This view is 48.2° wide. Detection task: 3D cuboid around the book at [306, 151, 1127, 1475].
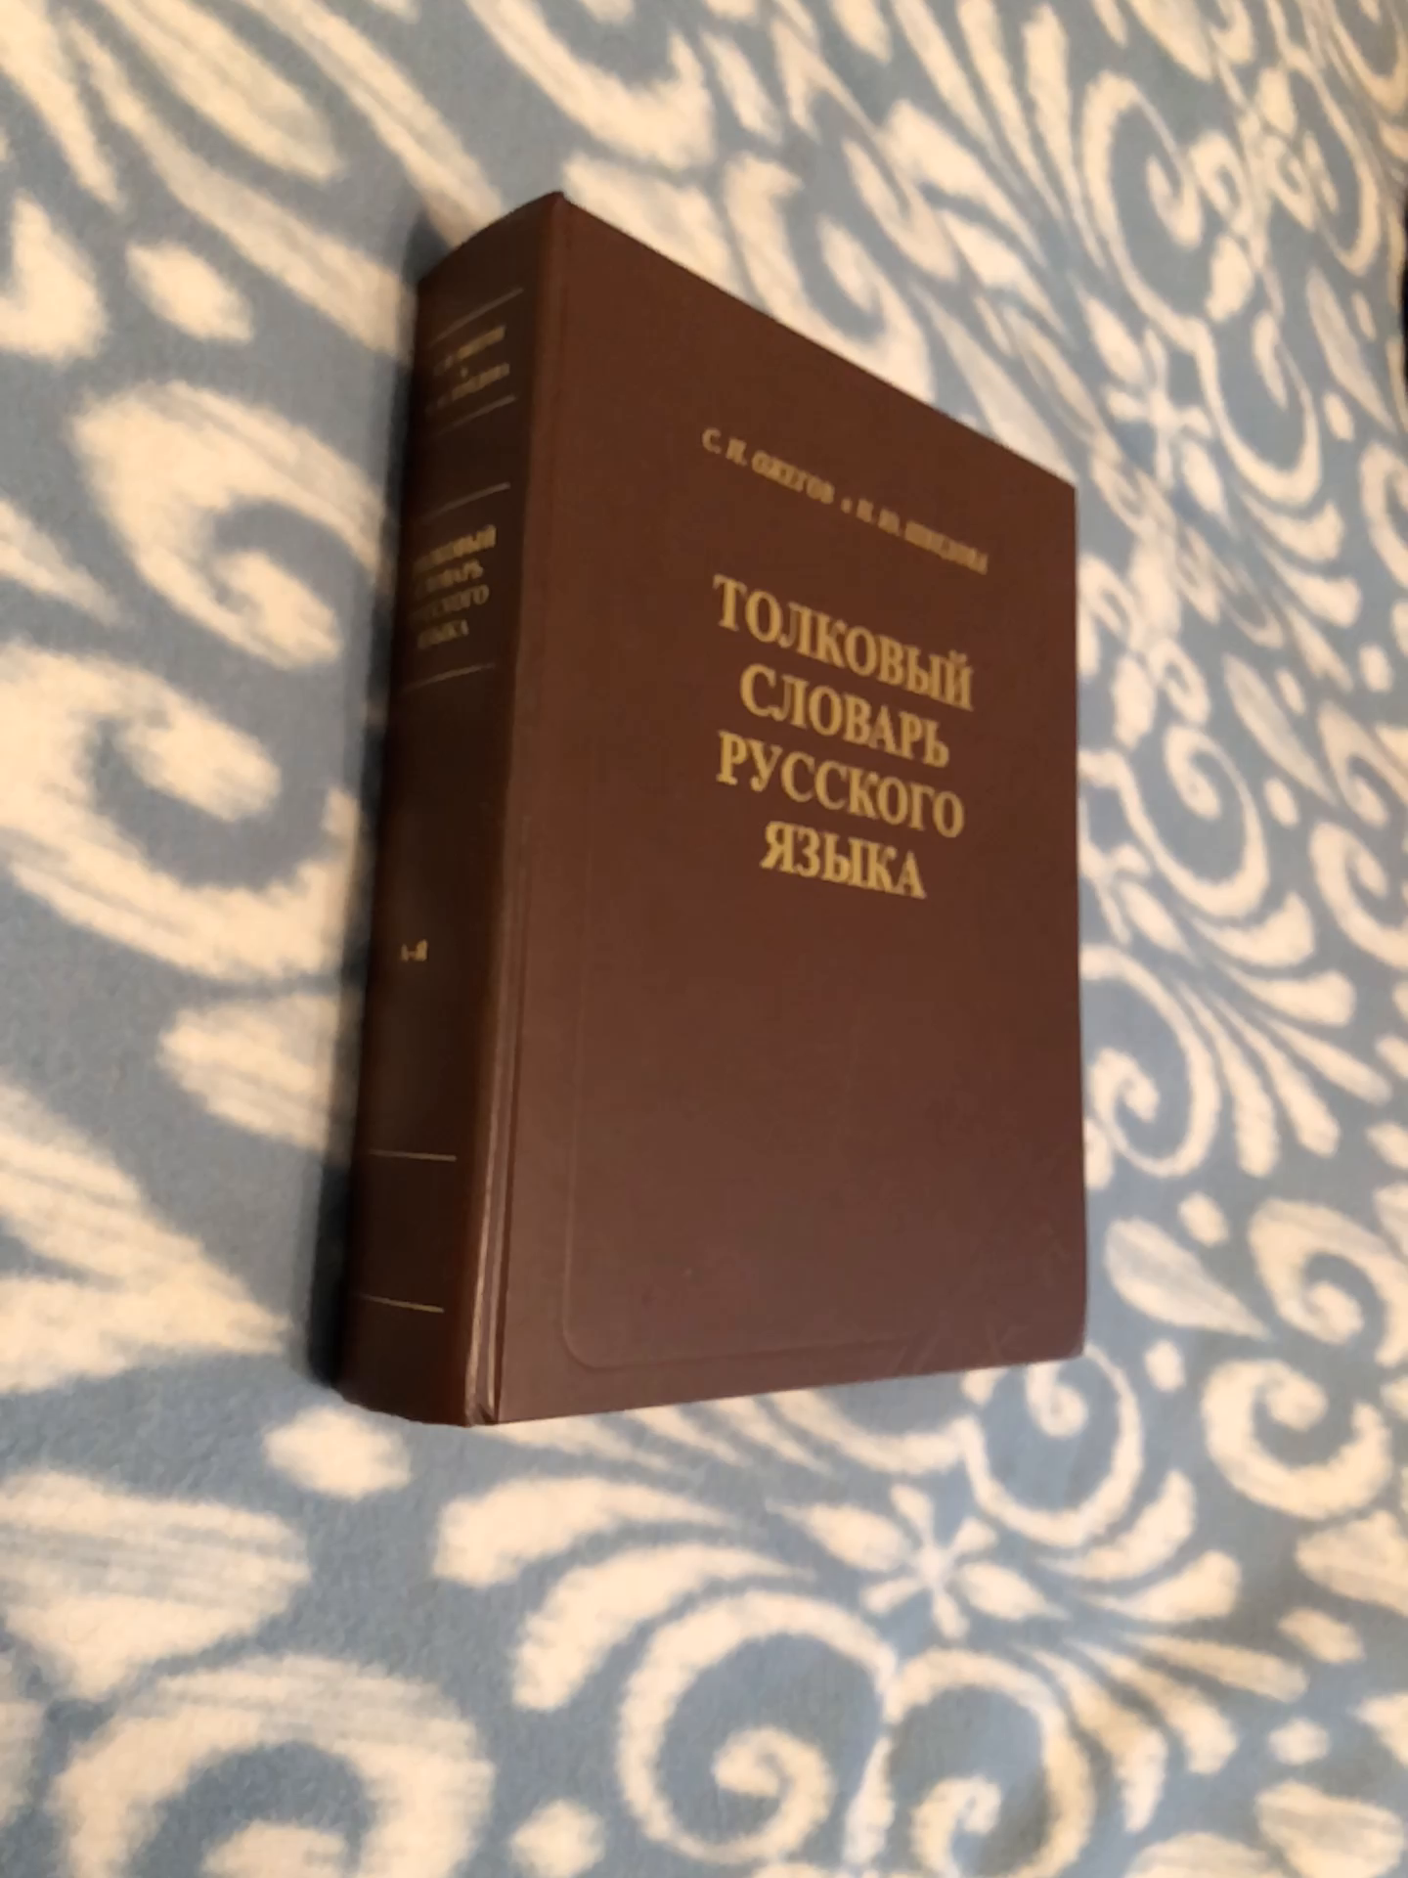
[{"bbox_3d":[0.022,-0.017,0.414,0.221,0.067,0.270,10,79,-43],"label":"book"}]
